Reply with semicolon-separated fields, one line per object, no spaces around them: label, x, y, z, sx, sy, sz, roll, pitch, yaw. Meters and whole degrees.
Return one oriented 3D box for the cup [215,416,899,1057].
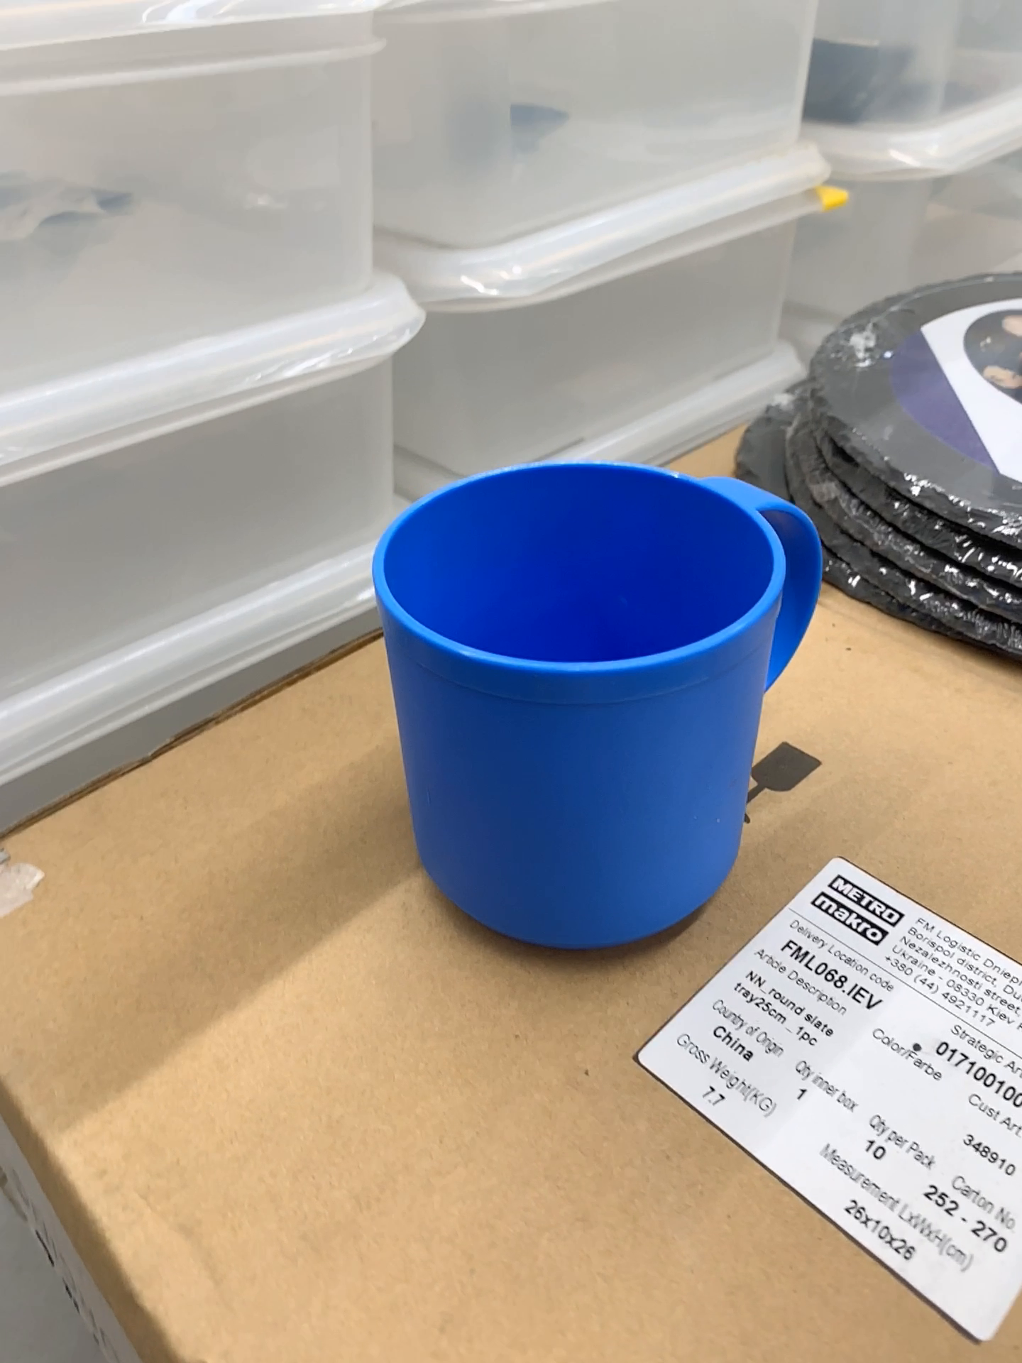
cup;0.011;0.002;0.240;0.110;0.071;0.089;-29;43;-30
